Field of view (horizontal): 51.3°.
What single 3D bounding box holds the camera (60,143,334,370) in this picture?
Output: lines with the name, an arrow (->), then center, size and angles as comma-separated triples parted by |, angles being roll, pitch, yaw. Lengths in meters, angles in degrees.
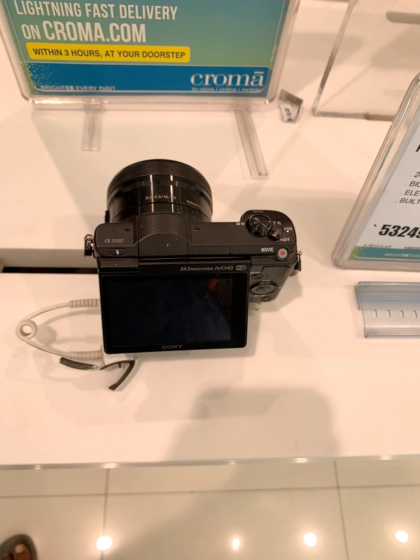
camera -> -0.010, -0.009, 0.231 | 0.110, 0.082, 0.088 | -2, 63, -6
